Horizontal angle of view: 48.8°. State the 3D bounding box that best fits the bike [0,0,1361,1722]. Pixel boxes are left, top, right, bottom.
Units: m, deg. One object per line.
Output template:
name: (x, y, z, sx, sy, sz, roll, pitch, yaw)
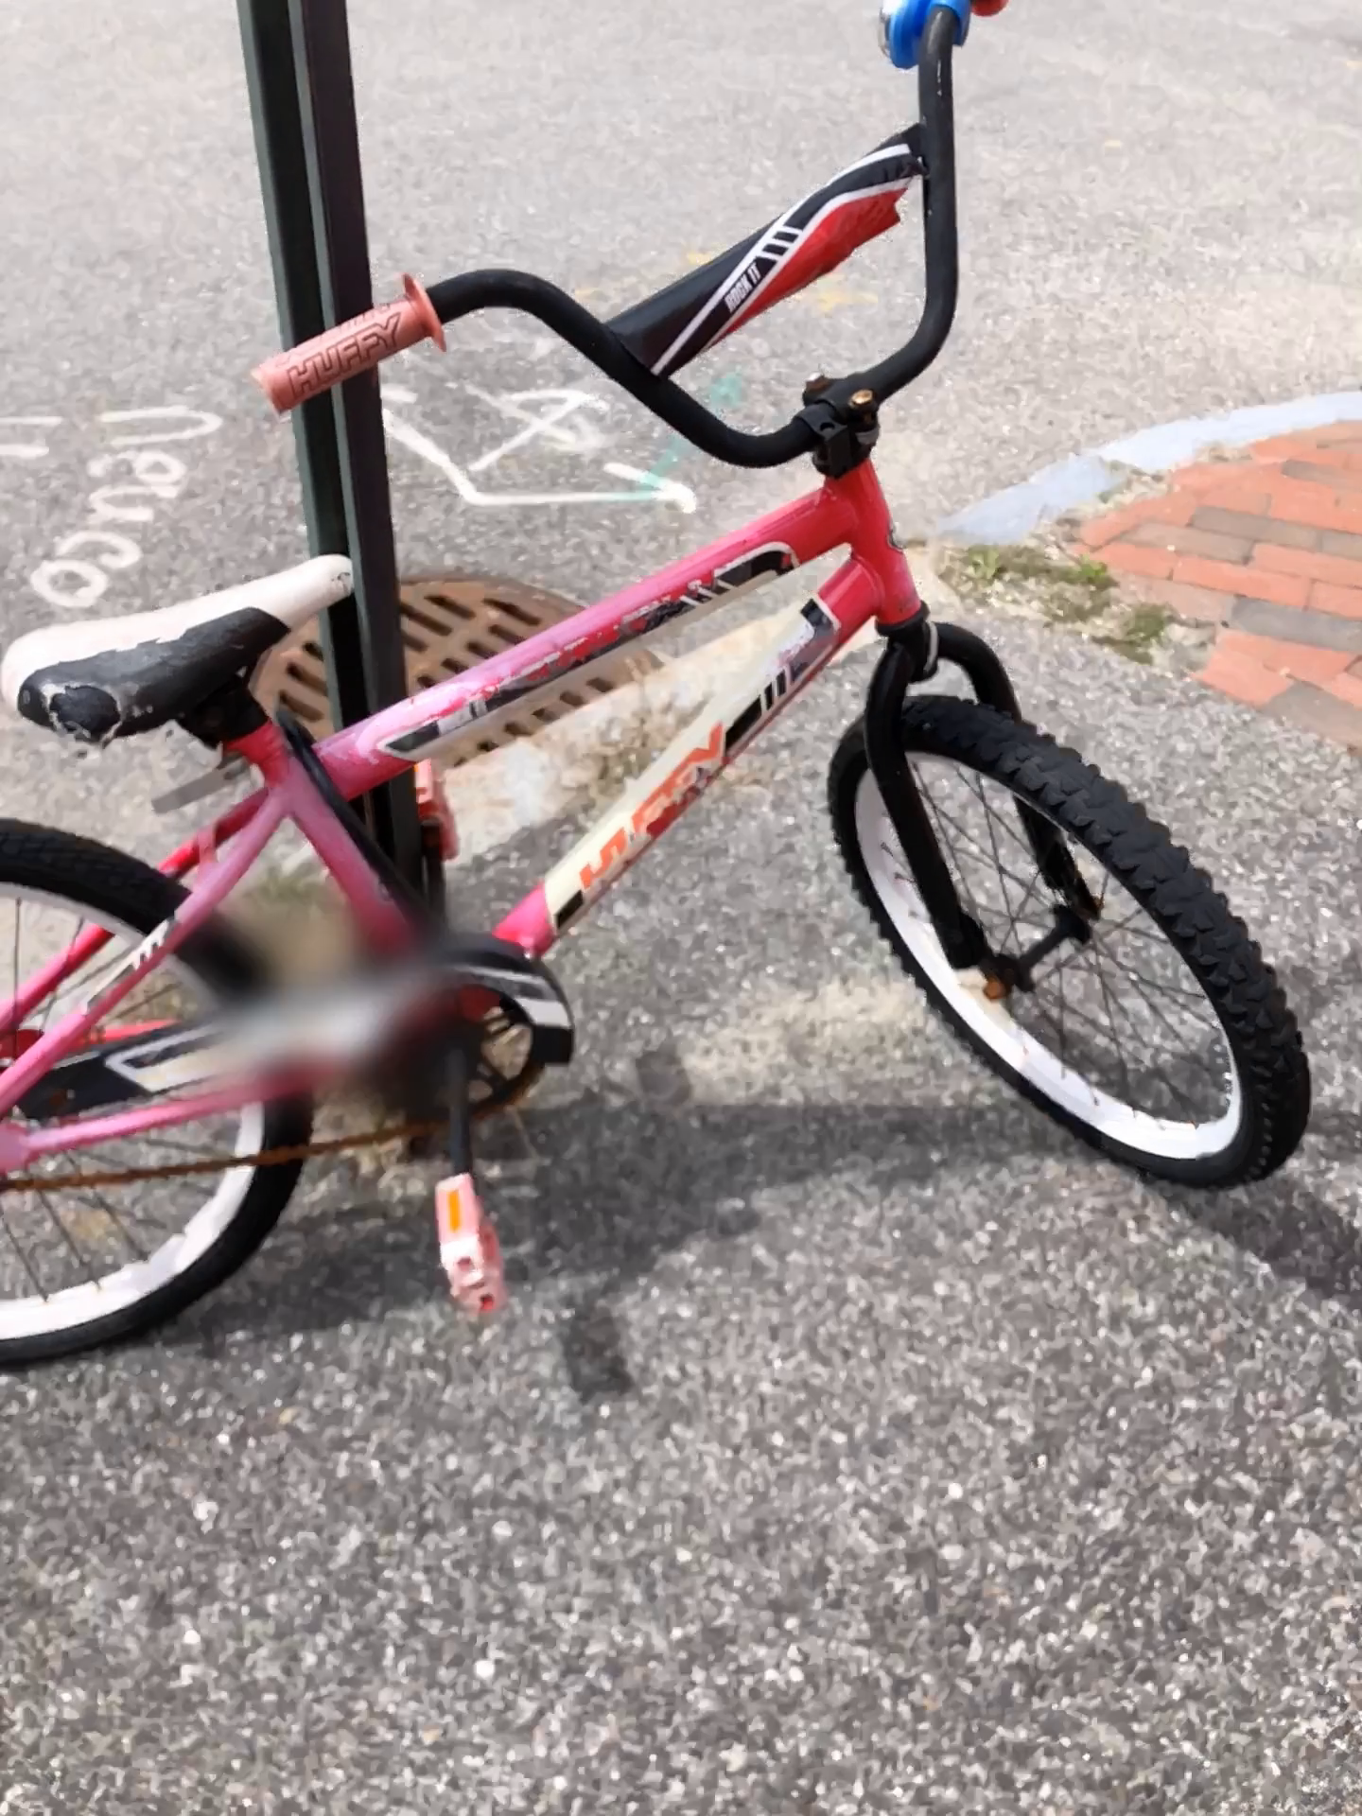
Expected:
bike: (-0.149, -0.066, 0.910, 1.176, 0.887, 0.699, -4, 44, -7)
